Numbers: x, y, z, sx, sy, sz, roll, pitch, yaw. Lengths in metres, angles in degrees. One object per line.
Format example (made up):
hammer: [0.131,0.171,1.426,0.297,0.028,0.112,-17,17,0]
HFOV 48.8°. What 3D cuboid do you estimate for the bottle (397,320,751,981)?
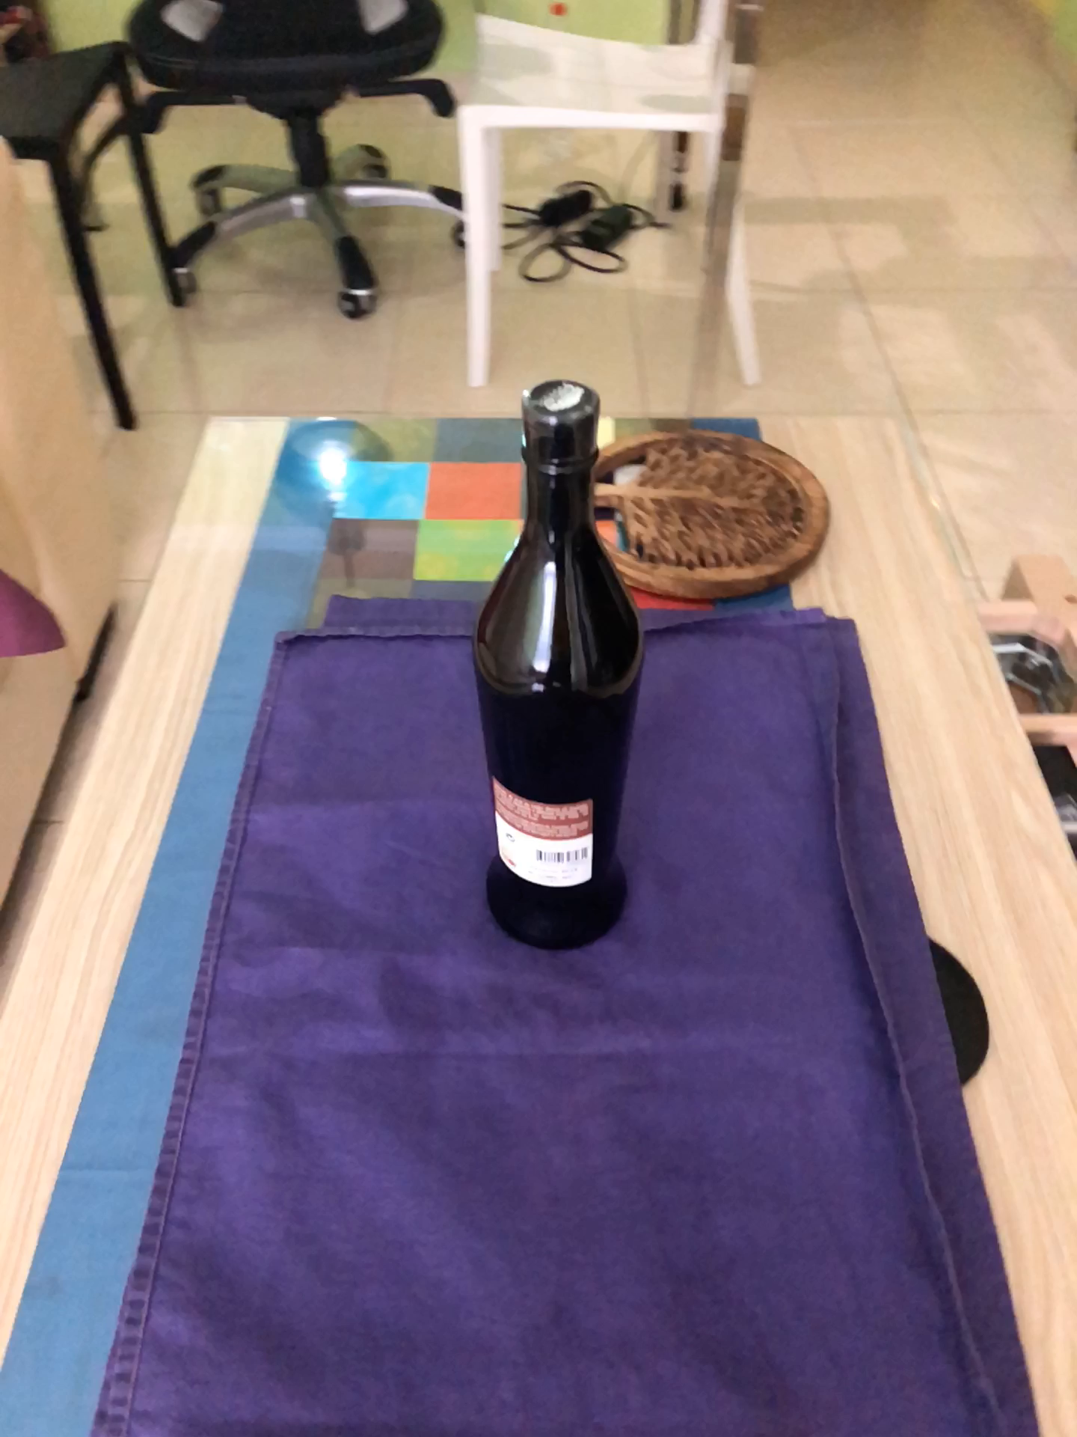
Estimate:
bottle: [0.016,-0.016,0.530,0.100,0.279,0.100,0,45,0]
